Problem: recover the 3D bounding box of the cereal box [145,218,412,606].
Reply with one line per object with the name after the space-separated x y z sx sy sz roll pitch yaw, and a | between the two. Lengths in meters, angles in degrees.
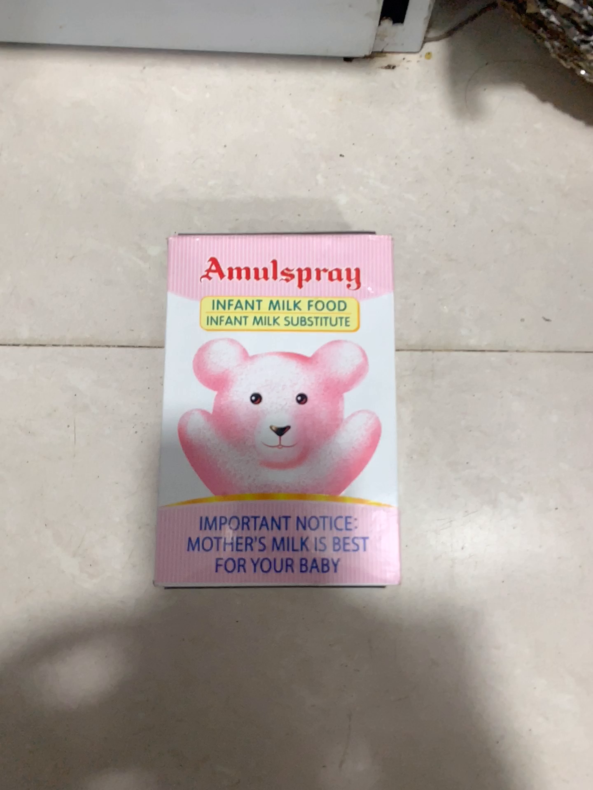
-0.006 0.006 0.240 0.090 0.050 0.140 0 80 0 | cereal box
